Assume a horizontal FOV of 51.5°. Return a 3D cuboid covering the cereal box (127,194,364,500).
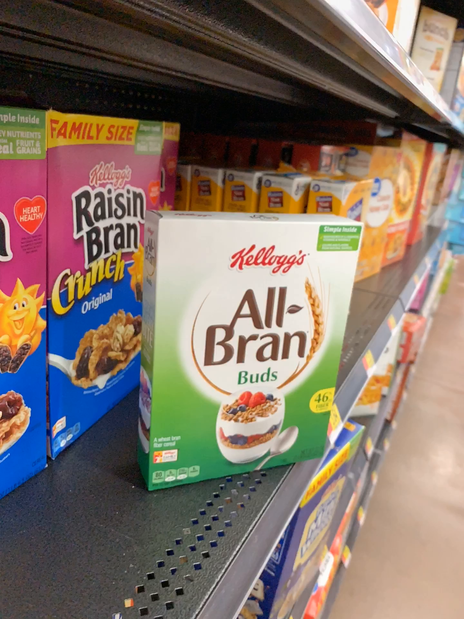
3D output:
[{"bbox_3d":[0.007,0.033,0.443,0.190,0.259,0.050,-3,19,-23],"label":"cereal box"}]
